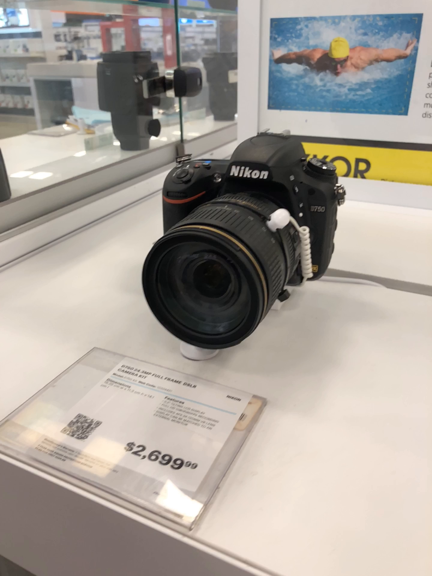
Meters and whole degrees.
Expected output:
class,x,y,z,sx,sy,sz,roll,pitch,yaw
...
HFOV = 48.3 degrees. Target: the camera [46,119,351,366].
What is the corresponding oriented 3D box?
class,x,y,z,sx,sy,sz,roll,pitch,yaw
camera,0.002,-0.052,0.354,0.150,0.110,0.171,10,29,21
